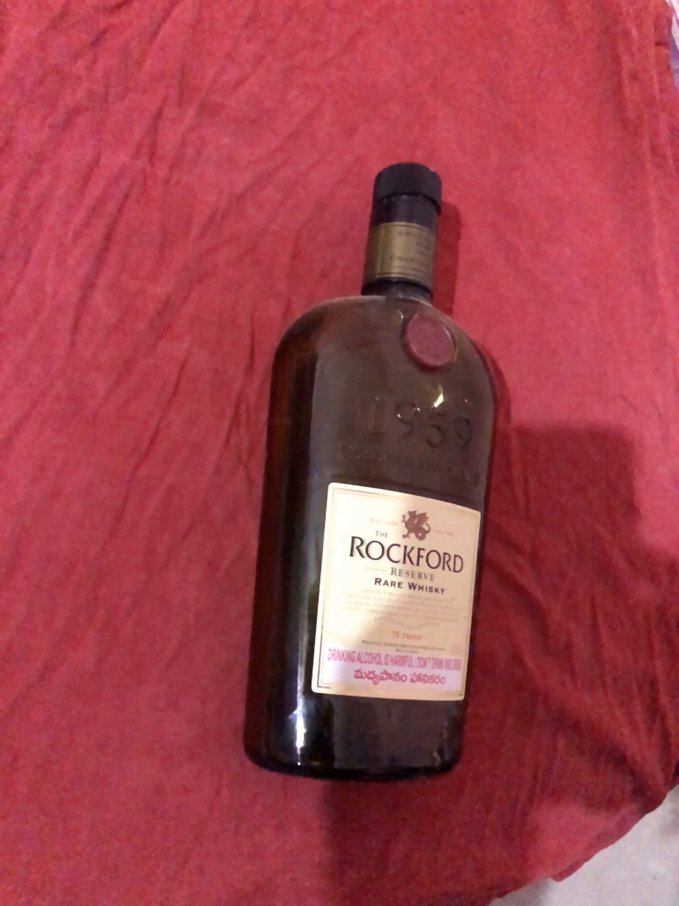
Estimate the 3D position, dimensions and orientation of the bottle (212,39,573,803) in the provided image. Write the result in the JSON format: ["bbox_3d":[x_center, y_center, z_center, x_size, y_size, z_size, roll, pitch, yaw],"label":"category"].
[{"bbox_3d":[0.025,-0.010,0.287,0.100,0.060,0.250,11,77,-26],"label":"bottle"}]
